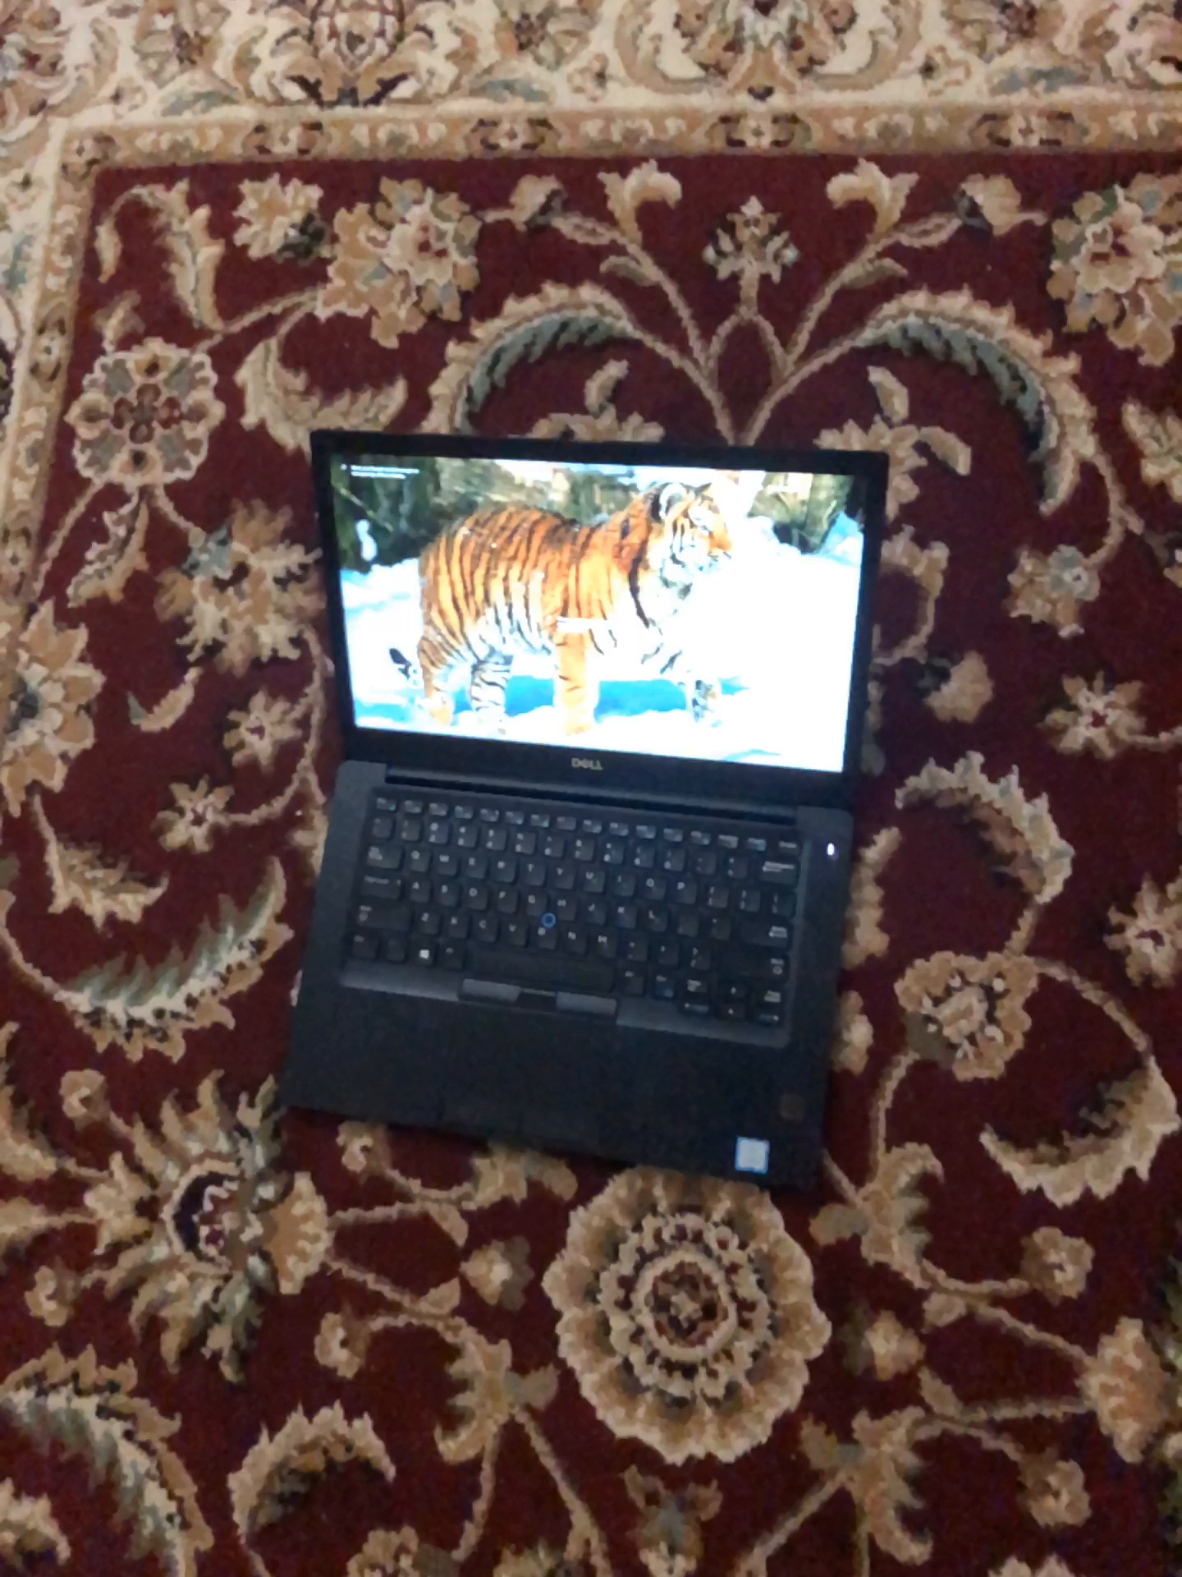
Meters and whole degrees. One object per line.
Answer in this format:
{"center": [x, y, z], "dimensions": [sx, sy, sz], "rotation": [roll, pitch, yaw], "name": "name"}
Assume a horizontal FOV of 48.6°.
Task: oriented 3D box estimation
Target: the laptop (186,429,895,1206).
{"center": [-0.016, 0.007, 0.745], "dimensions": [0.328, 0.124, 0.383], "rotation": [6, 80, 13], "name": "laptop"}
